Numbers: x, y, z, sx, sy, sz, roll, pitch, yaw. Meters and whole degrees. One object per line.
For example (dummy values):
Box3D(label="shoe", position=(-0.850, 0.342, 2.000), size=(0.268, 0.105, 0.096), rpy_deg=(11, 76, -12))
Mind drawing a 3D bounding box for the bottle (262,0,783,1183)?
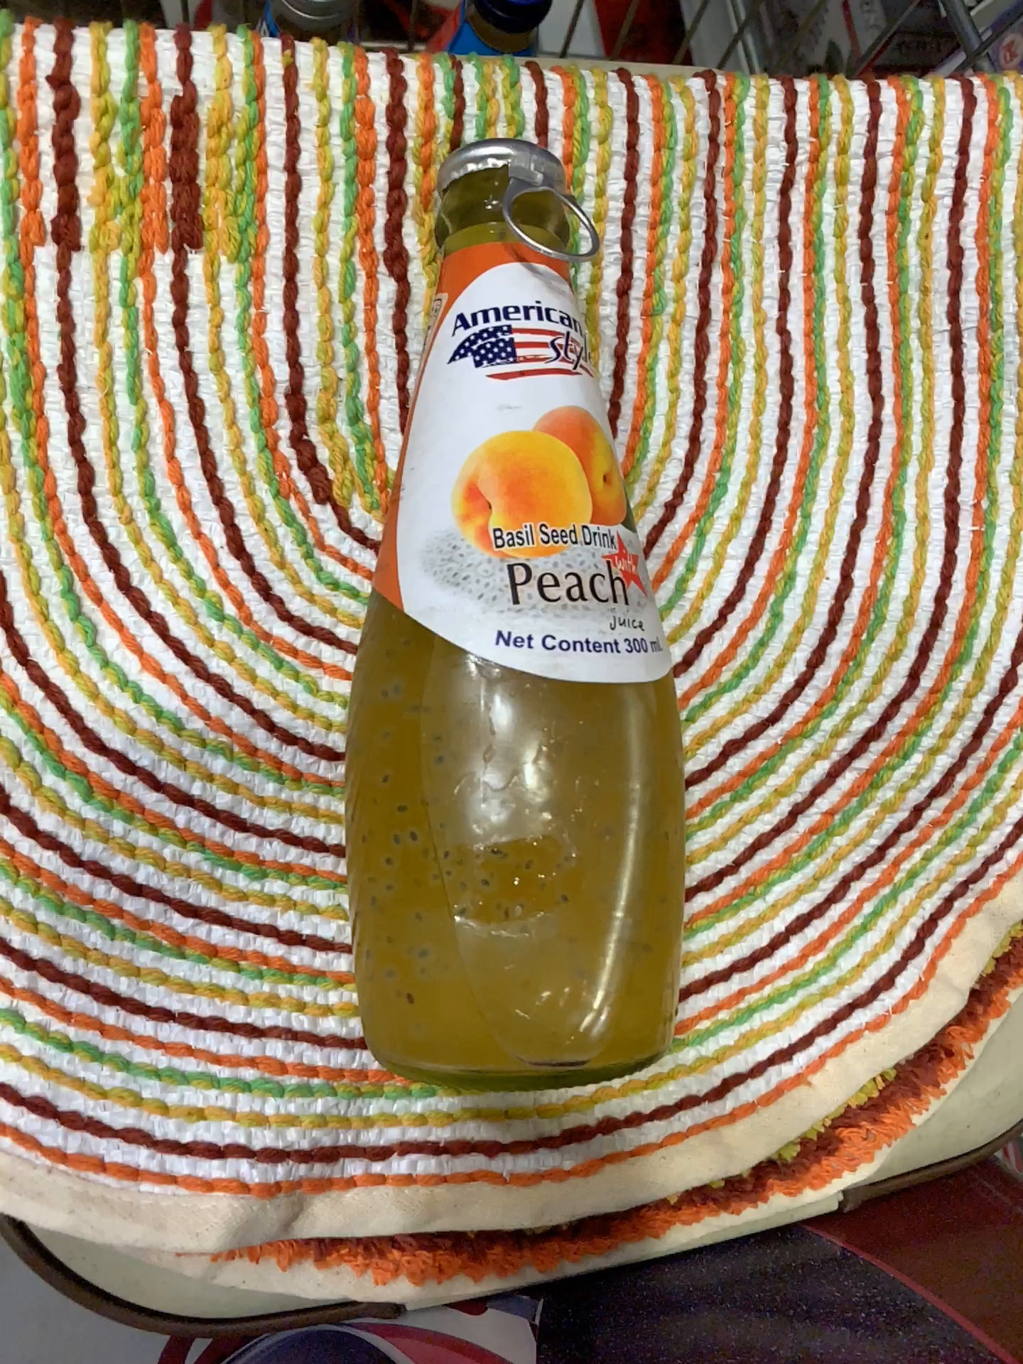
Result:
Box3D(label="bottle", position=(-0.004, -0.021, 0.208), size=(0.070, 0.060, 0.200), rpy_deg=(6, 75, -33))
